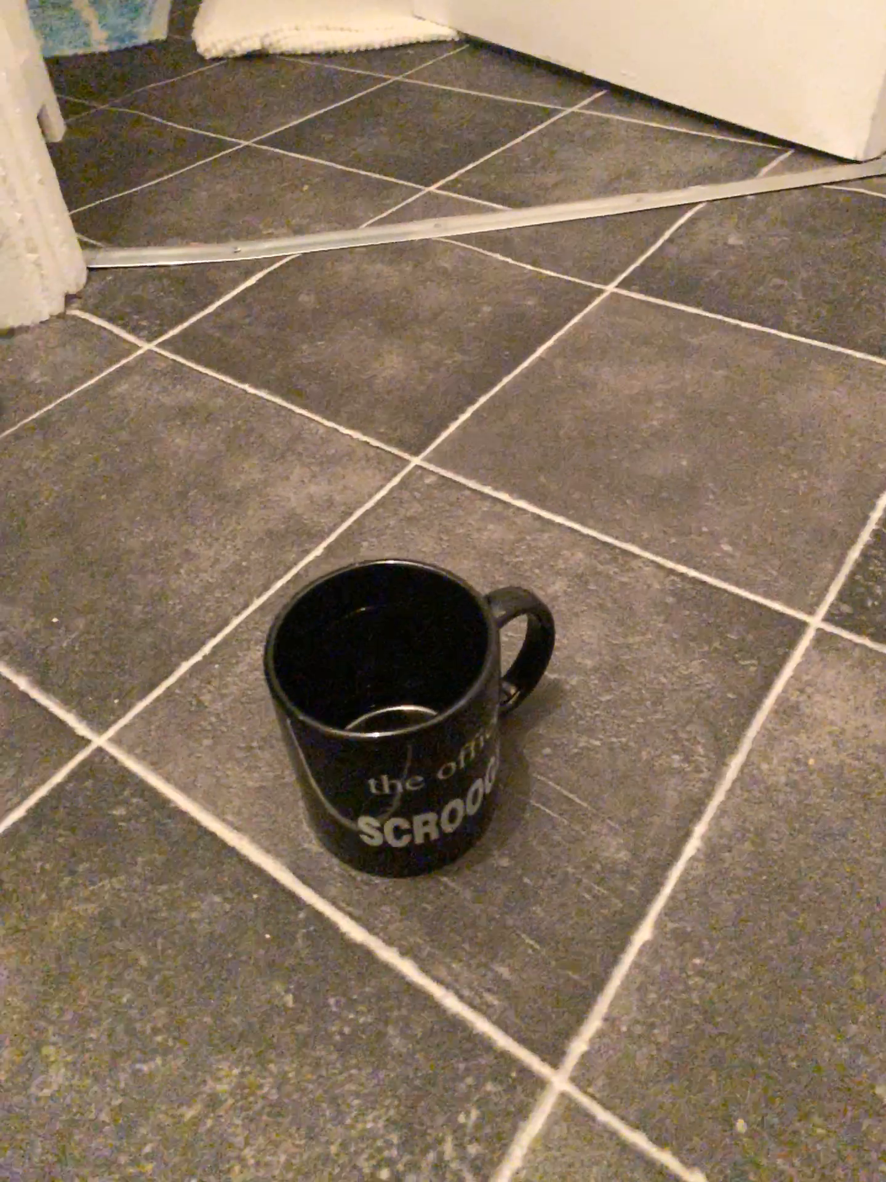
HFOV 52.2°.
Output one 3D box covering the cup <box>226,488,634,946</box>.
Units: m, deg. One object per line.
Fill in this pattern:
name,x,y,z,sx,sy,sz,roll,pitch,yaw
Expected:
cup,-0.002,0.048,0.354,0.117,0.114,0.080,-29,50,-23
